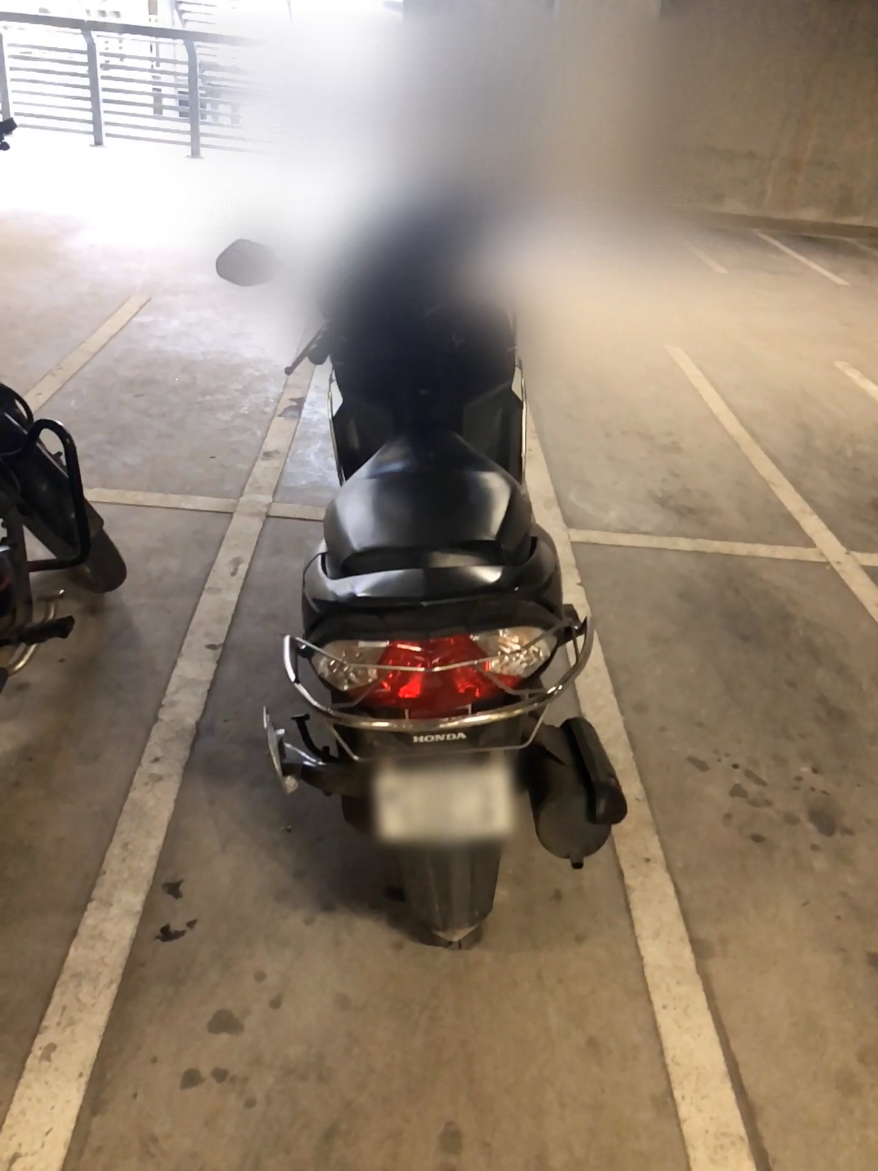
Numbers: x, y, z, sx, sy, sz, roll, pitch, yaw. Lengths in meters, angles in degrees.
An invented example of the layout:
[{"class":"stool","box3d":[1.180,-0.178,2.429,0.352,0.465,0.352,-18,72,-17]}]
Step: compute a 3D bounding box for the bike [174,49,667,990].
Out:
[{"class":"bike","box3d":[-0.137,-0.382,2.201,0.582,1.187,1.962,3,34,-7]}]
